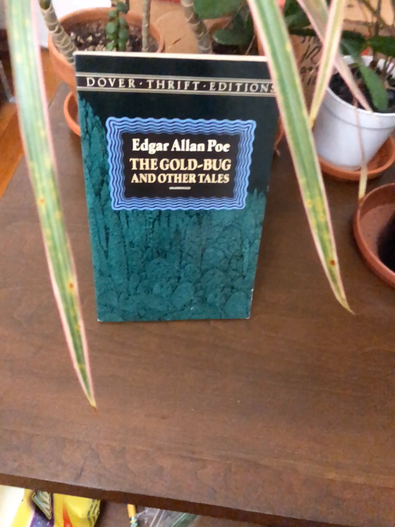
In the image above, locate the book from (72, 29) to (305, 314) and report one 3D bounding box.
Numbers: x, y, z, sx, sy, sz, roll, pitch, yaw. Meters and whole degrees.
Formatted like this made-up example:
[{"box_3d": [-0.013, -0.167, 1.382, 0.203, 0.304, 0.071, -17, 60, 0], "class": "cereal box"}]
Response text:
[{"box_3d": [-0.009, -0.052, 0.326, 0.140, 0.209, 0.020, -1, 32, -6], "class": "book"}]
